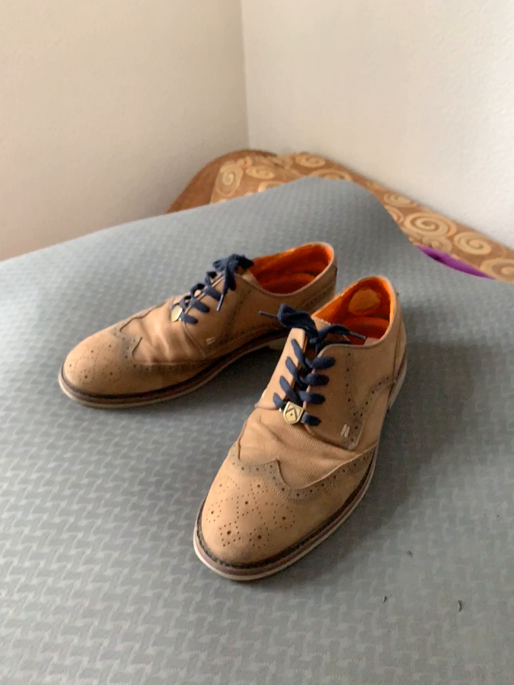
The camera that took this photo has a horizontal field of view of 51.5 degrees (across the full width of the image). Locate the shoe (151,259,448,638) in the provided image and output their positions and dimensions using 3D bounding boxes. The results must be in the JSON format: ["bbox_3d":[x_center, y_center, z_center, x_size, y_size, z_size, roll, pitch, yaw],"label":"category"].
[{"bbox_3d":[0.054,0.057,0.434,0.110,0.090,0.291,19,47,22],"label":"shoe"}]

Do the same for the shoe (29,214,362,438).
[{"bbox_3d":[-0.054,-0.028,0.541,0.300,0.090,0.111,-20,45,-18],"label":"shoe"}]
